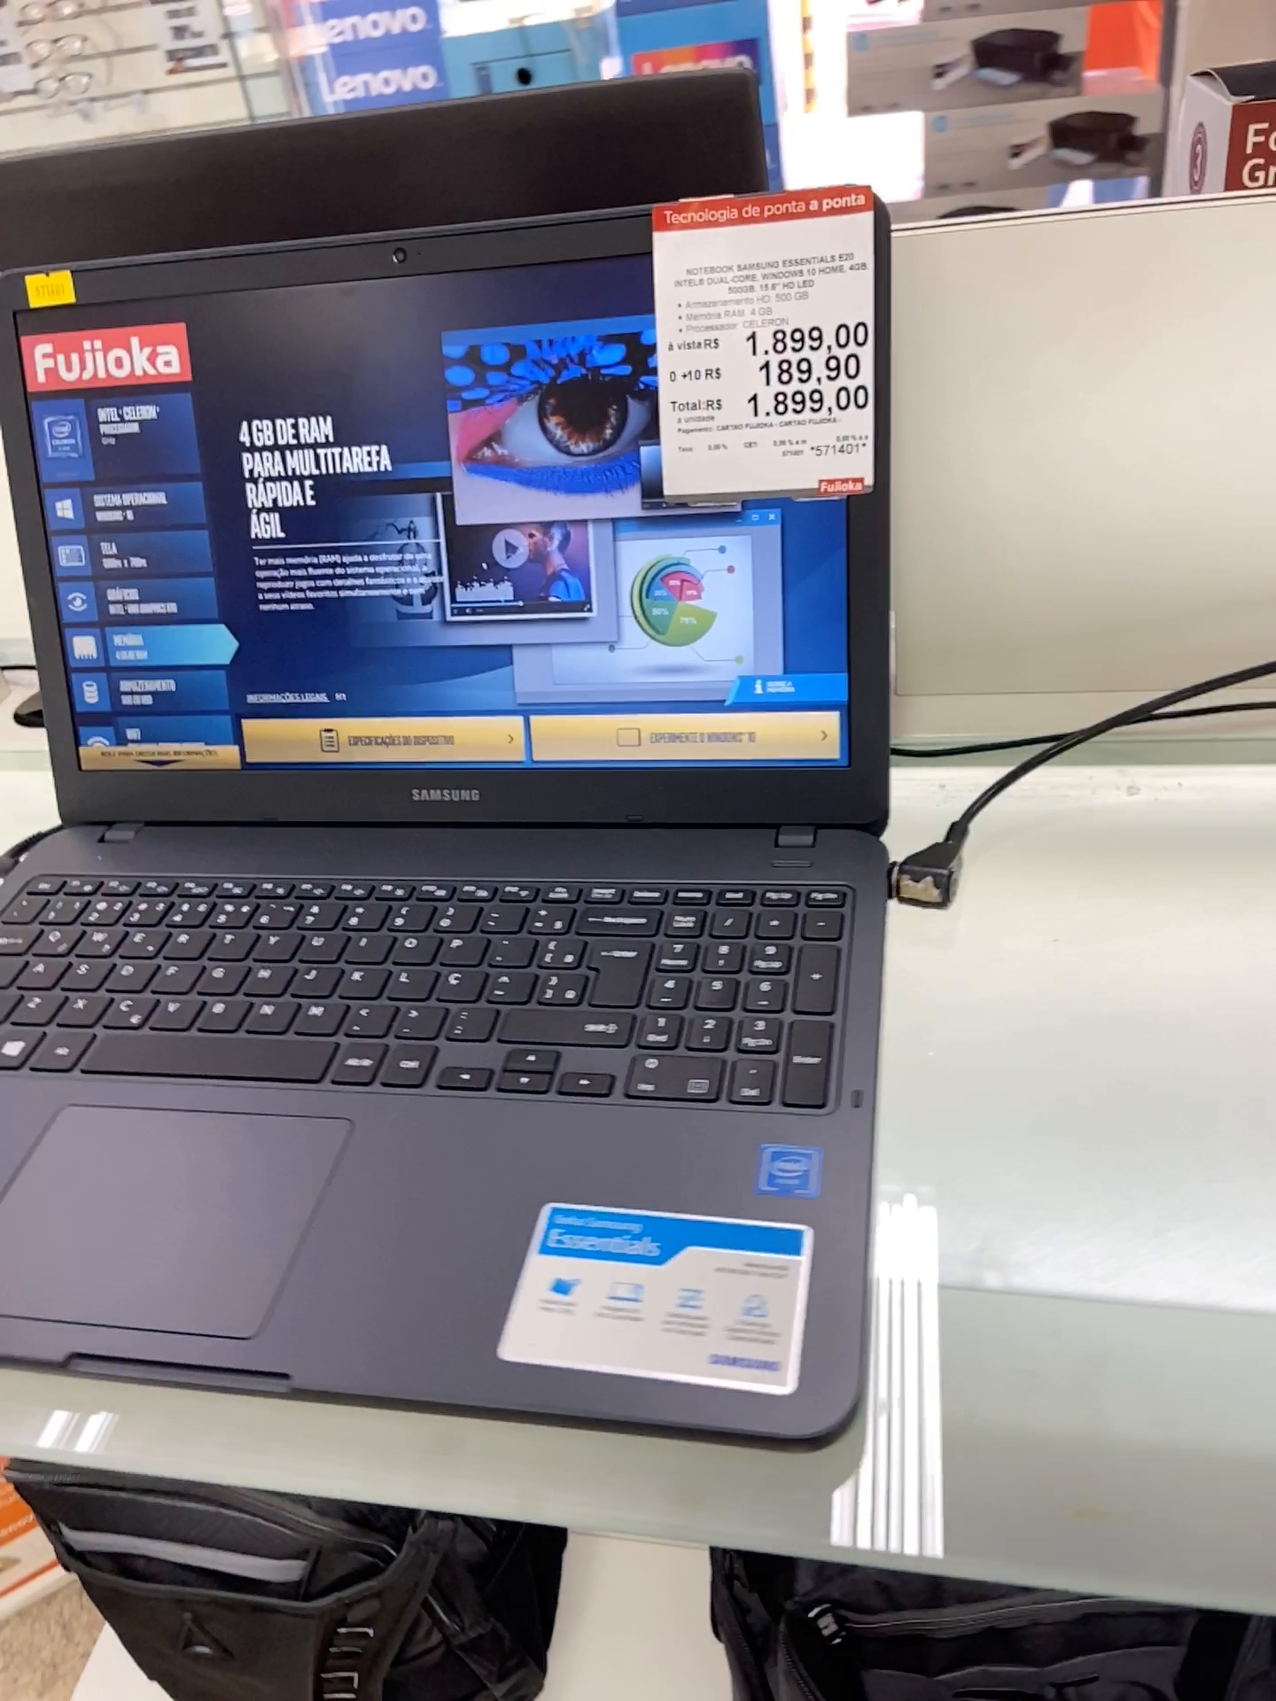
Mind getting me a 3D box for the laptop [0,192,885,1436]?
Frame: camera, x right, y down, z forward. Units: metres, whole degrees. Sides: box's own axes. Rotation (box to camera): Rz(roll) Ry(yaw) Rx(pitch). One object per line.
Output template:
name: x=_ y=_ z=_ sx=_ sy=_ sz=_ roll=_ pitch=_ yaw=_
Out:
laptop: x=-0.113 y=-0.046 z=0.438 sx=0.366 sy=0.207 sz=0.348 roll=0 pitch=38 yaw=14
